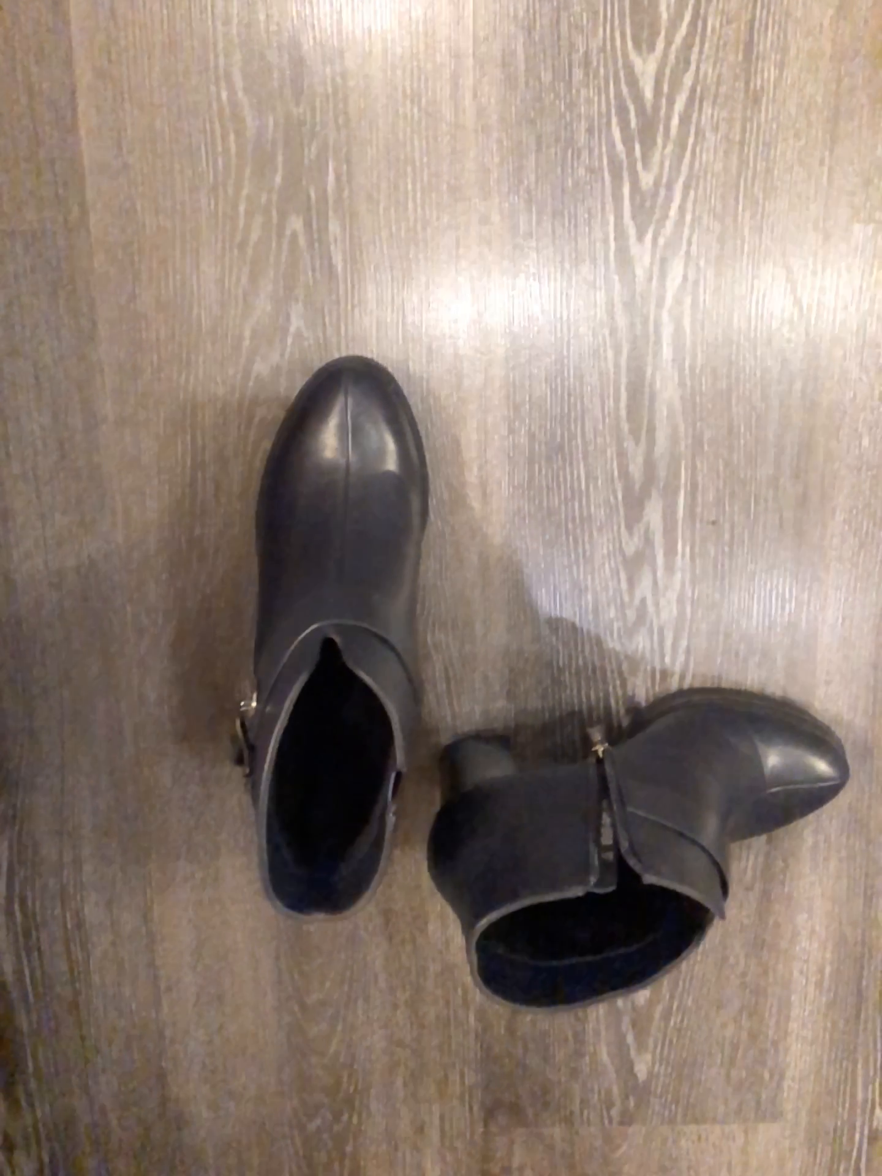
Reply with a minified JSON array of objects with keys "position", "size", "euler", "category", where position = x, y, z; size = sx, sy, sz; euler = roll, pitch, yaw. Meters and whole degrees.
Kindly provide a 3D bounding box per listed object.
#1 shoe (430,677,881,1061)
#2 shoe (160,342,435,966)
[{"position":[0.111,0.119,0.470],"size":[0.230,0.200,0.090],"euler":[0,104,0],"category":"shoe"},{"position":[-0.054,0.011,0.435],"size":[0.090,0.180,0.230],"euler":[3,104,-1],"category":"shoe"}]
